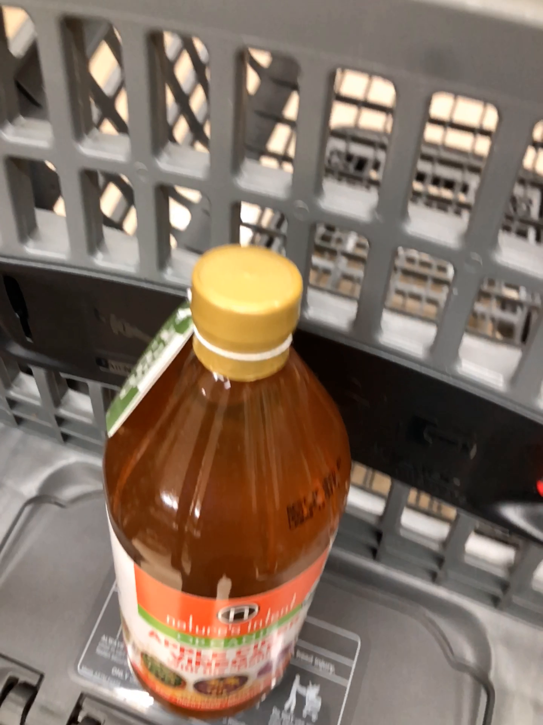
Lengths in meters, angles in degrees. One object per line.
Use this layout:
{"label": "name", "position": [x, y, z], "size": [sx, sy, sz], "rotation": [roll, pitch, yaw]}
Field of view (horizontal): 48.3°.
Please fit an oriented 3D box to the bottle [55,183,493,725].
{"label": "bottle", "position": [-0.018, 0.062, 0.246], "size": [0.100, 0.240, 0.090], "rotation": [-1, 42, -12]}
